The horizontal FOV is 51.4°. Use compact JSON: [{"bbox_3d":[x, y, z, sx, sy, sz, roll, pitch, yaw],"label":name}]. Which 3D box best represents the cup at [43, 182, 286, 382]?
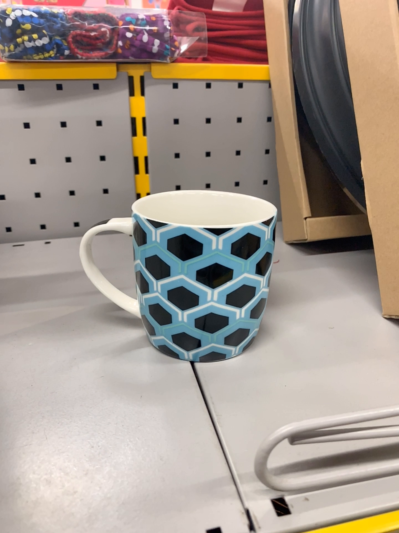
[{"bbox_3d":[-0.014,0.002,0.260,0.120,0.090,0.090,3,23,6],"label":"cup"}]
